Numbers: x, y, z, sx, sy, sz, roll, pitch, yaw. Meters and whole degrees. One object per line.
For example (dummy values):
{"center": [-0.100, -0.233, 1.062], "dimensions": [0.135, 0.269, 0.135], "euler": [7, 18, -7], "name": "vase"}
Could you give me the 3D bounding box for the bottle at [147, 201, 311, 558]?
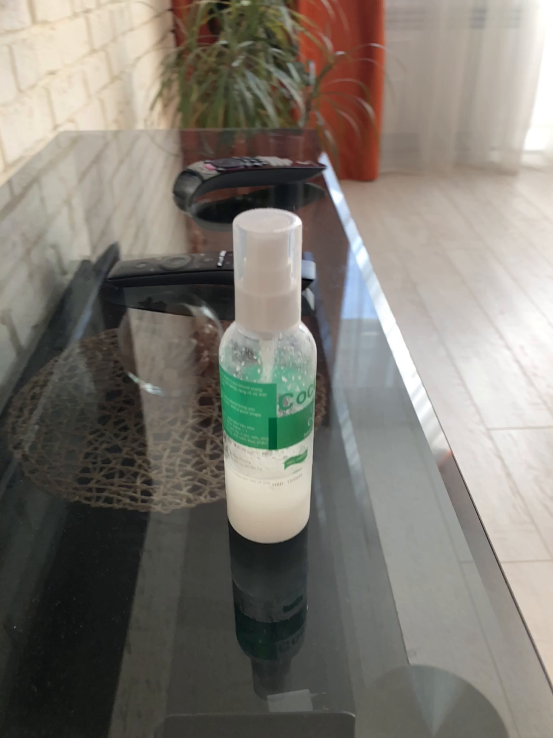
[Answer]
{"center": [-0.012, 0.009, 0.248], "dimensions": [0.050, 0.139, 0.050], "euler": [-1, 33, 1], "name": "bottle"}
